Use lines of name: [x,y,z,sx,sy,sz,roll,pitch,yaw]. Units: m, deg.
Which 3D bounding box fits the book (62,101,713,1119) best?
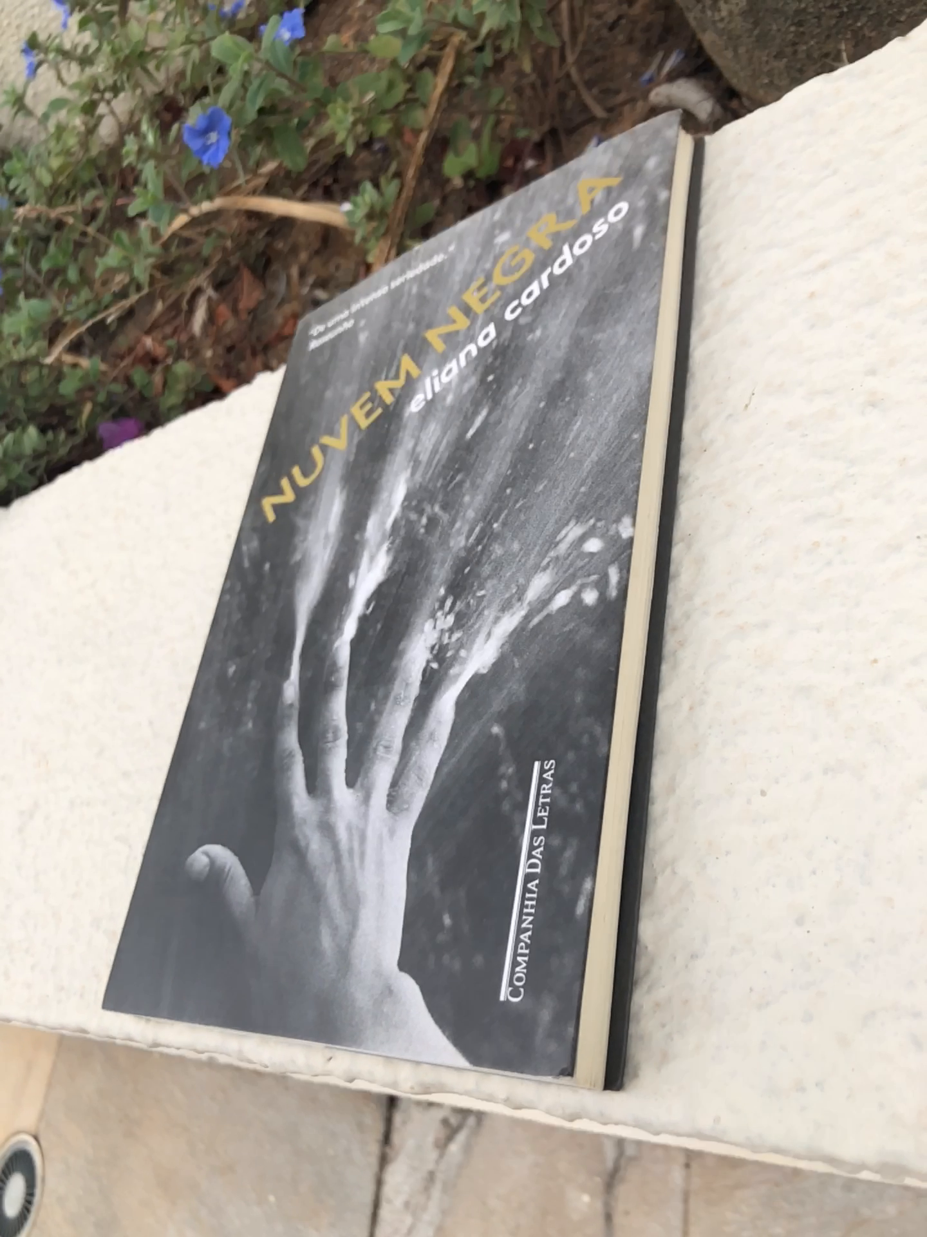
book: [-0.017,-0.009,0.234,0.141,0.013,0.200,-11,59,39]
